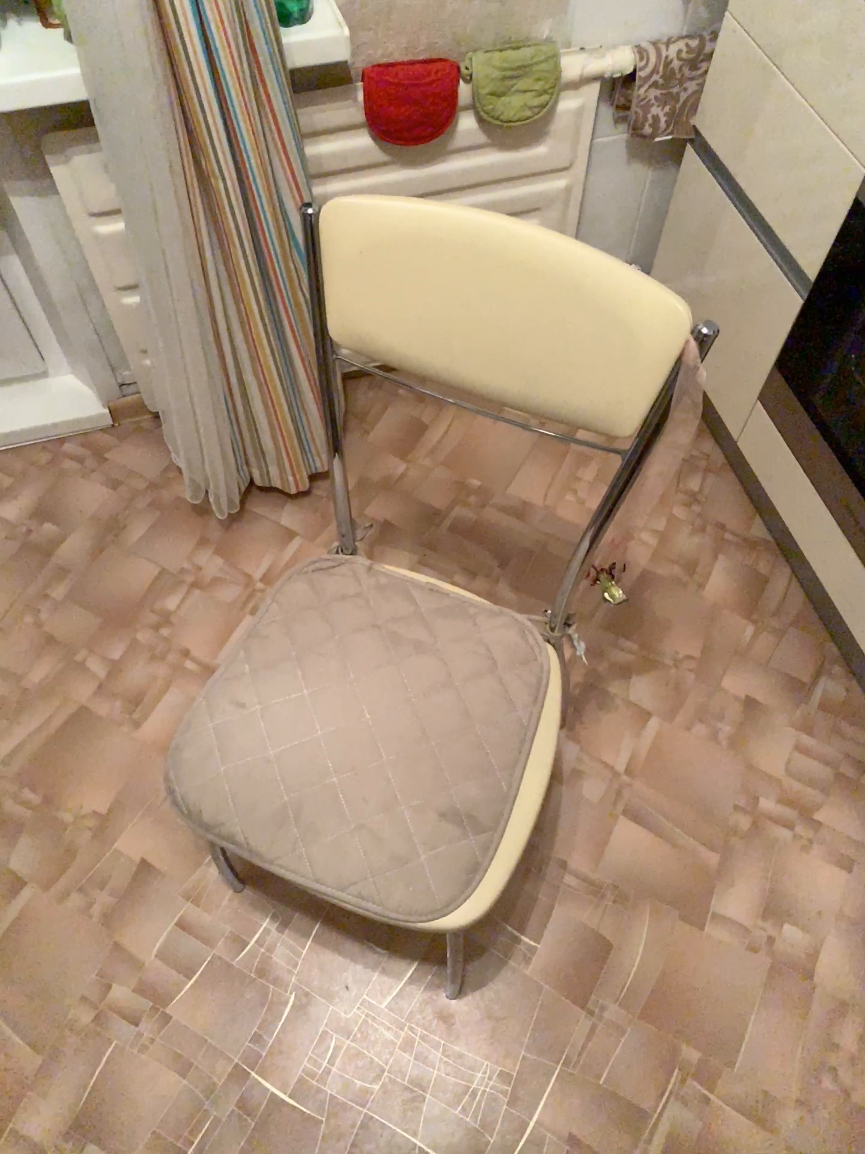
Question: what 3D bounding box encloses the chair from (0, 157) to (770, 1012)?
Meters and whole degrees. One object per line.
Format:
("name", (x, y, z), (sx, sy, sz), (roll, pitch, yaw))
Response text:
("chair", (-0.012, 0.110, 0.983), (0.384, 0.855, 0.492), (21, 61, 11))
